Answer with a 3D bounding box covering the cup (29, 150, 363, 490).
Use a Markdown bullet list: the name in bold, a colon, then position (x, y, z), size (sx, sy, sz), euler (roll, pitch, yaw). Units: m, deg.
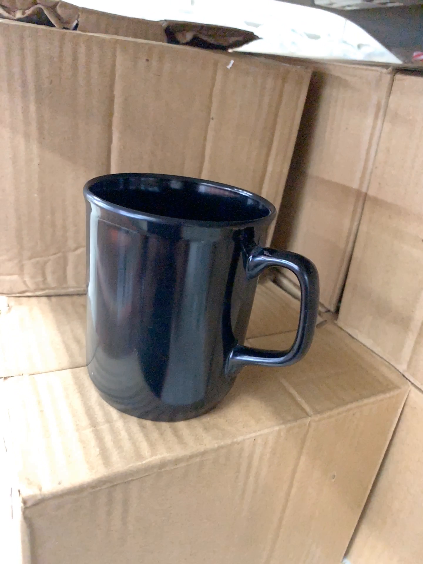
- **cup**: position (-0.007, 0.004, 0.181), size (0.100, 0.089, 0.070), euler (17, 28, 24)
